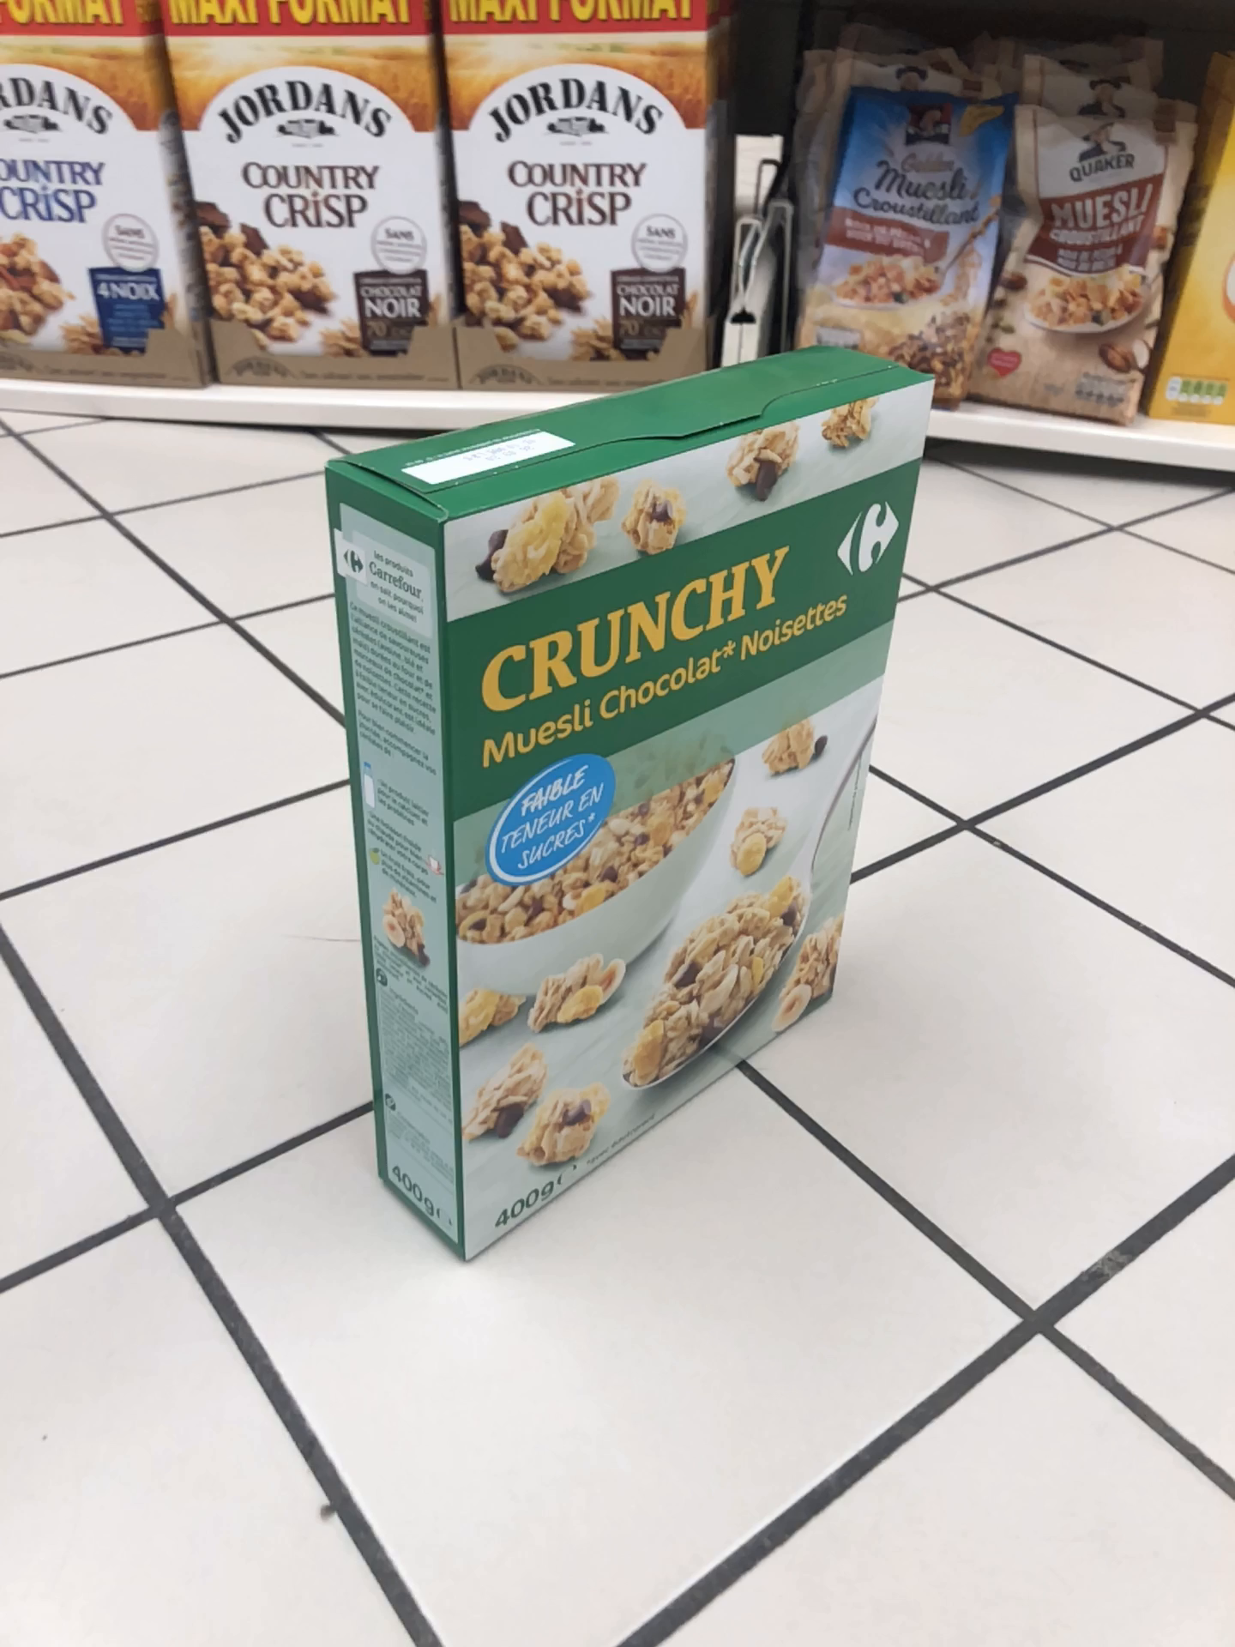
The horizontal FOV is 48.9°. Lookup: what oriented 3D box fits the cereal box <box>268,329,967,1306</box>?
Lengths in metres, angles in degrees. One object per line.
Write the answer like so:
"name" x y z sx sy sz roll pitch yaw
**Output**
"cereal box" 0.006 -0.006 0.425 0.201 0.248 0.060 -27 43 -38
